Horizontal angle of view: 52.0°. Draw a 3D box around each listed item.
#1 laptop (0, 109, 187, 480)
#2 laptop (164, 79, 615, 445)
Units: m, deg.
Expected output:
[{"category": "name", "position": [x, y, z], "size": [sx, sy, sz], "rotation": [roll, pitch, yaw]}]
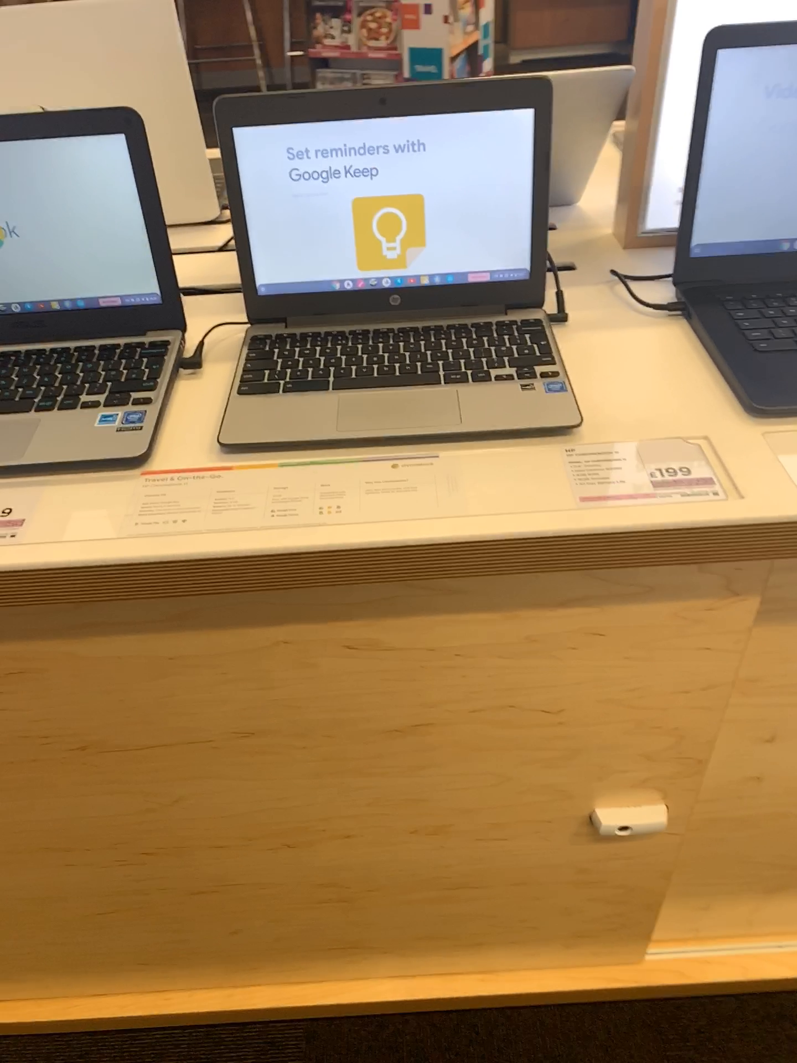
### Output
[{"category": "laptop", "position": [-0.344, -0.192, 0.642], "size": [0.286, 0.179, 0.223], "rotation": [-4, 42, 0]}, {"category": "laptop", "position": [-0.004, -0.219, 0.648], "size": [0.277, 0.185, 0.230], "rotation": [-3, 40, 1]}]
